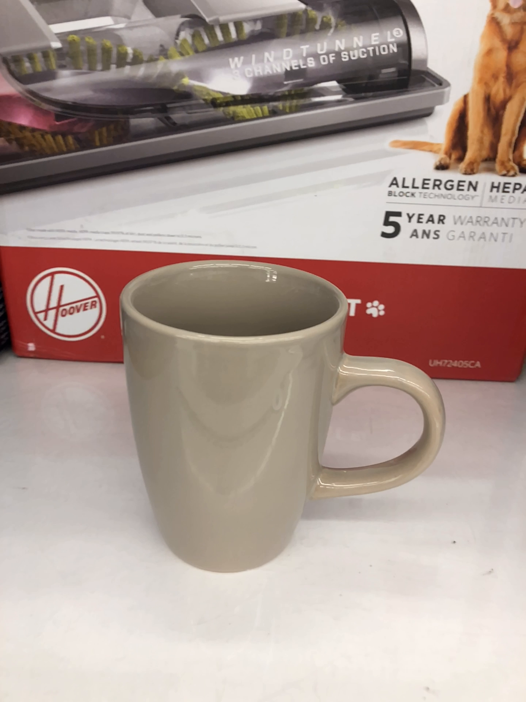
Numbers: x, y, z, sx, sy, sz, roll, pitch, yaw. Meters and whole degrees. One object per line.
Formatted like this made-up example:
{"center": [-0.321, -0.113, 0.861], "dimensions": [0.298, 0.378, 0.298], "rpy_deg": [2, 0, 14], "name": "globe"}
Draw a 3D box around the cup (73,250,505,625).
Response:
{"center": [0.010, 0.024, 0.226], "dimensions": [0.125, 0.092, 0.088], "rpy_deg": [7, 26, 9], "name": "cup"}
